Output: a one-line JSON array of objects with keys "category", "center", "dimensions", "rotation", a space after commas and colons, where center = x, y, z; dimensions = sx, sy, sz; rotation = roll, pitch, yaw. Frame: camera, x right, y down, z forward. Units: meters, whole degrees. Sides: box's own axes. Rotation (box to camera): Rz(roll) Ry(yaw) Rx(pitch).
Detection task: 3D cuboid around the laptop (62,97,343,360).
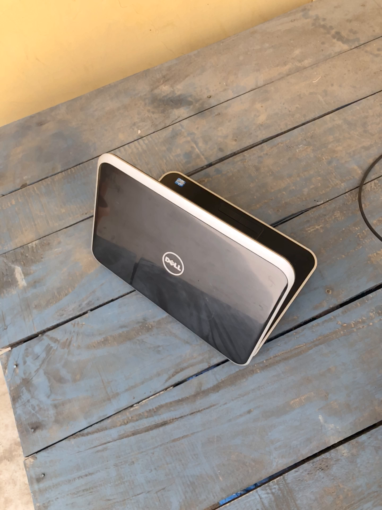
[{"category": "laptop", "center": [0.015, -0.040, 0.701], "dimensions": [0.347, 0.207, 0.216], "rotation": [35, 75, 20]}]
